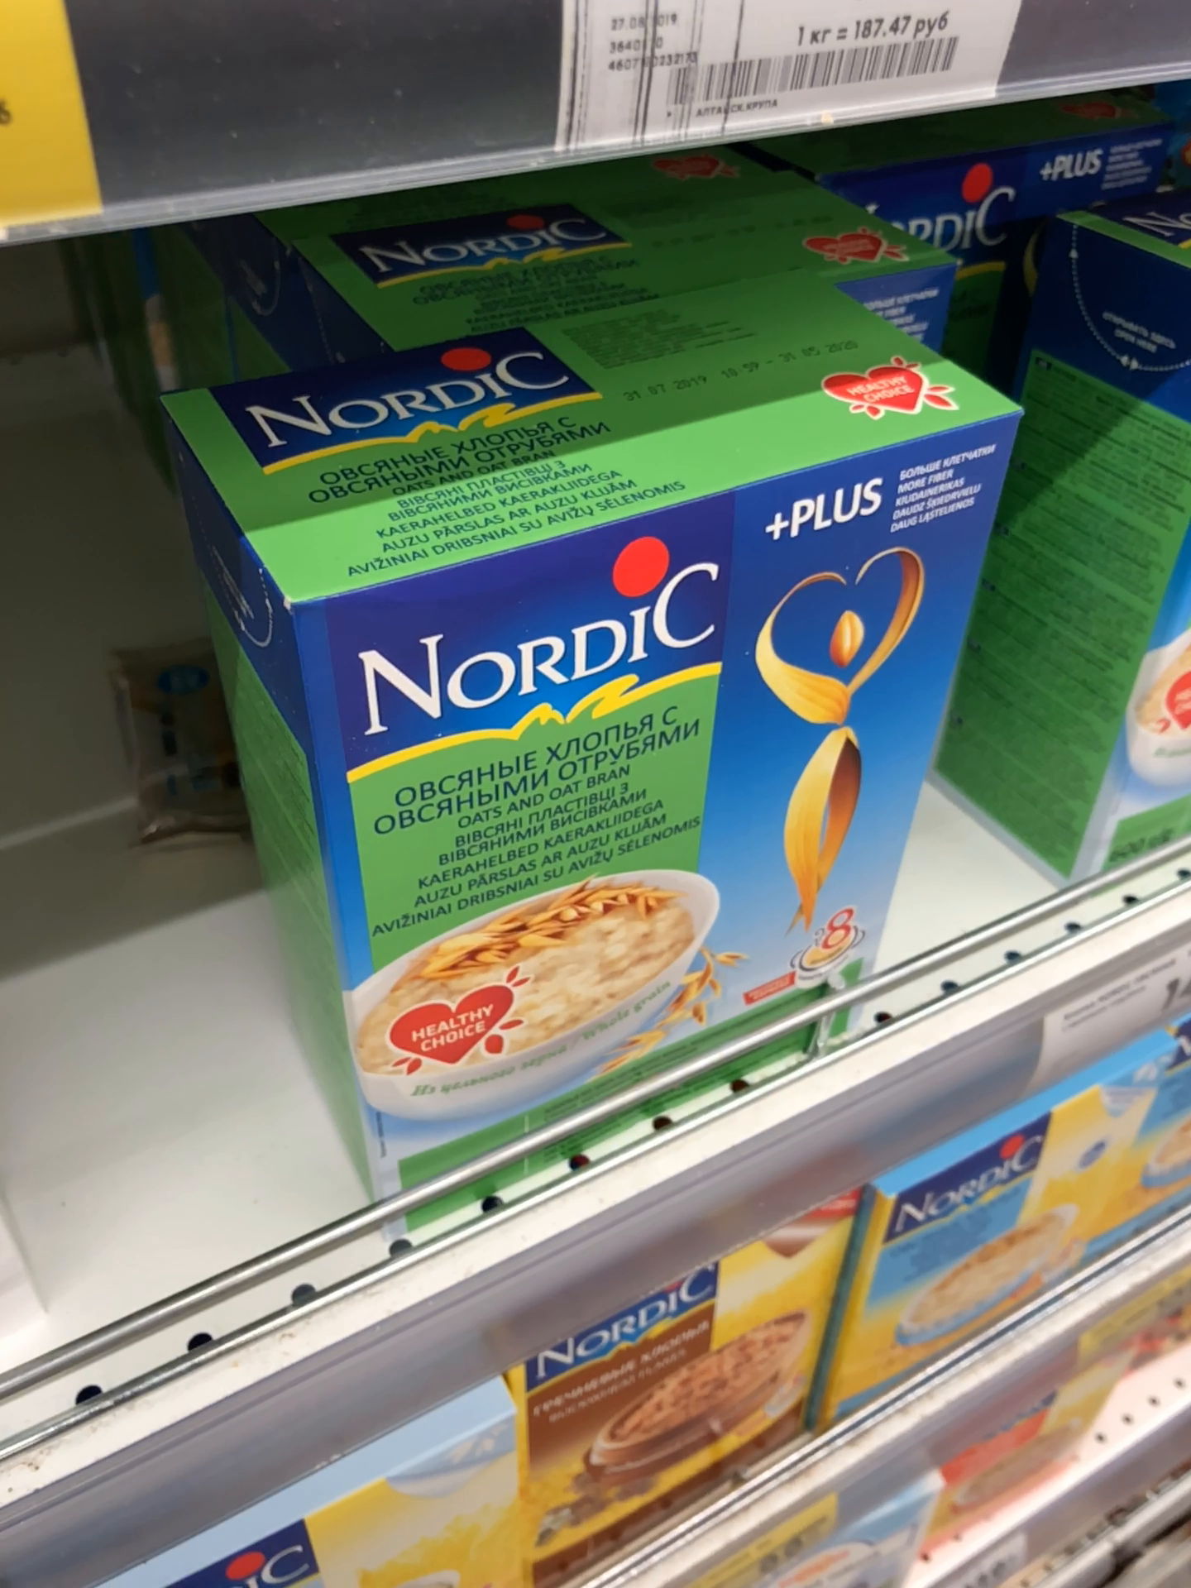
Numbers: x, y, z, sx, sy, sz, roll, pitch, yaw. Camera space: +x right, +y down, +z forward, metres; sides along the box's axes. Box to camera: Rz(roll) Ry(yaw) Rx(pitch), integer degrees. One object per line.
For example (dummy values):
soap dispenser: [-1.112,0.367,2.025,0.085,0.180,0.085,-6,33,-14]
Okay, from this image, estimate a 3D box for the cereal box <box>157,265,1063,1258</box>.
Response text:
cereal box: [0.002,-0.003,0.306,0.150,0.189,0.070,-19,46,-22]
